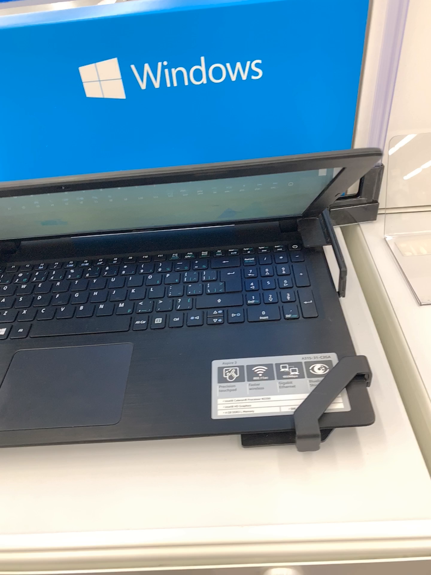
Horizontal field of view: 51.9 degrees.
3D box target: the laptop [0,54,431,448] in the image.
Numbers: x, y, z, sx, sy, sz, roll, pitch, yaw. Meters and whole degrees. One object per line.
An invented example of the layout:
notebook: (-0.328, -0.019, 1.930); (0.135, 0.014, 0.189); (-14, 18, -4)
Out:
laptop: (-0.076, -0.037, 0.326); (0.344, 0.157, 0.234); (-4, 42, 4)
